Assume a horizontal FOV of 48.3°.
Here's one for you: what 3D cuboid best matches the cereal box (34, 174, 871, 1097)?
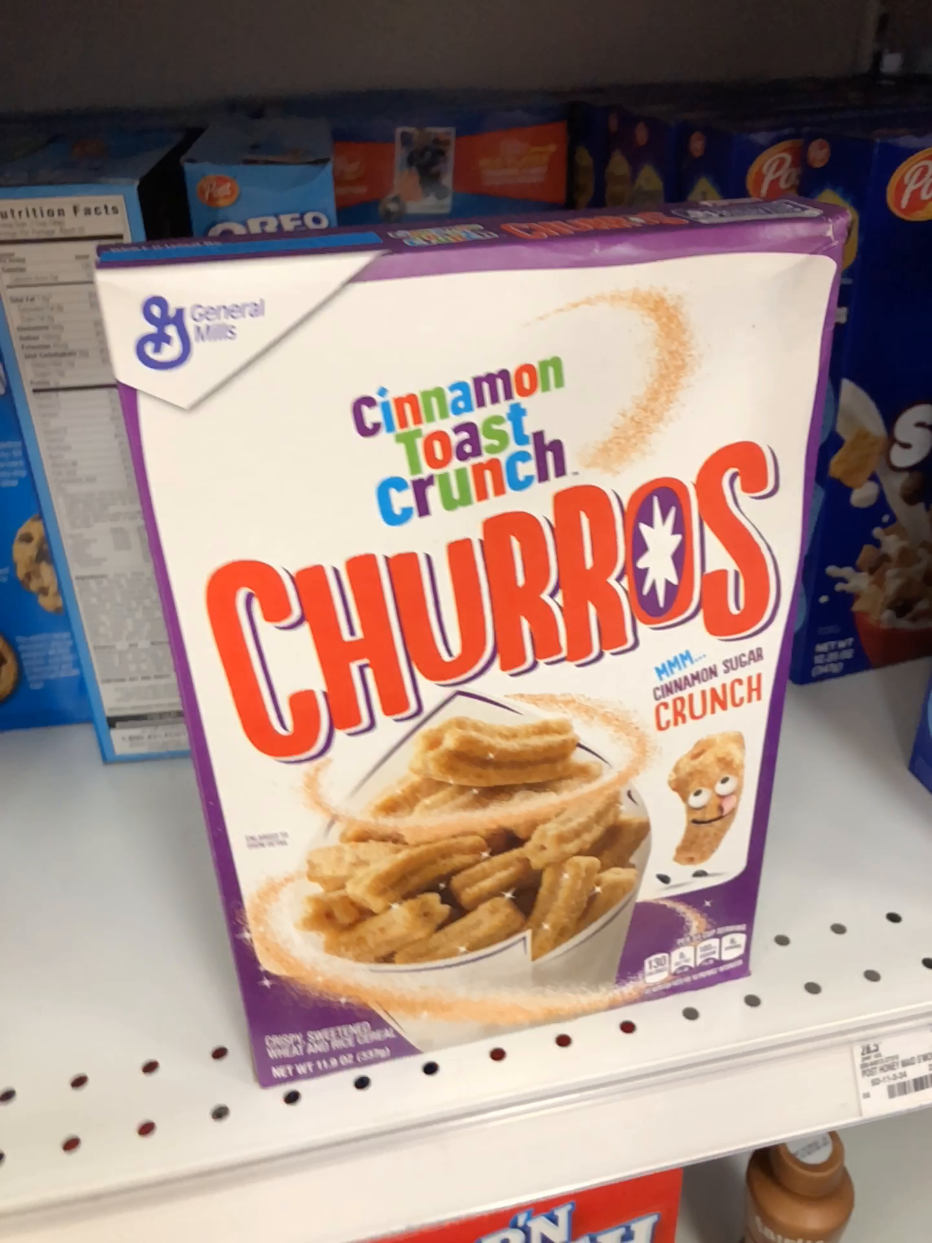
[{"bbox_3d":[0.002,0.016,0.337,0.200,0.279,0.060,-9,31,-11],"label":"cereal box"}]
